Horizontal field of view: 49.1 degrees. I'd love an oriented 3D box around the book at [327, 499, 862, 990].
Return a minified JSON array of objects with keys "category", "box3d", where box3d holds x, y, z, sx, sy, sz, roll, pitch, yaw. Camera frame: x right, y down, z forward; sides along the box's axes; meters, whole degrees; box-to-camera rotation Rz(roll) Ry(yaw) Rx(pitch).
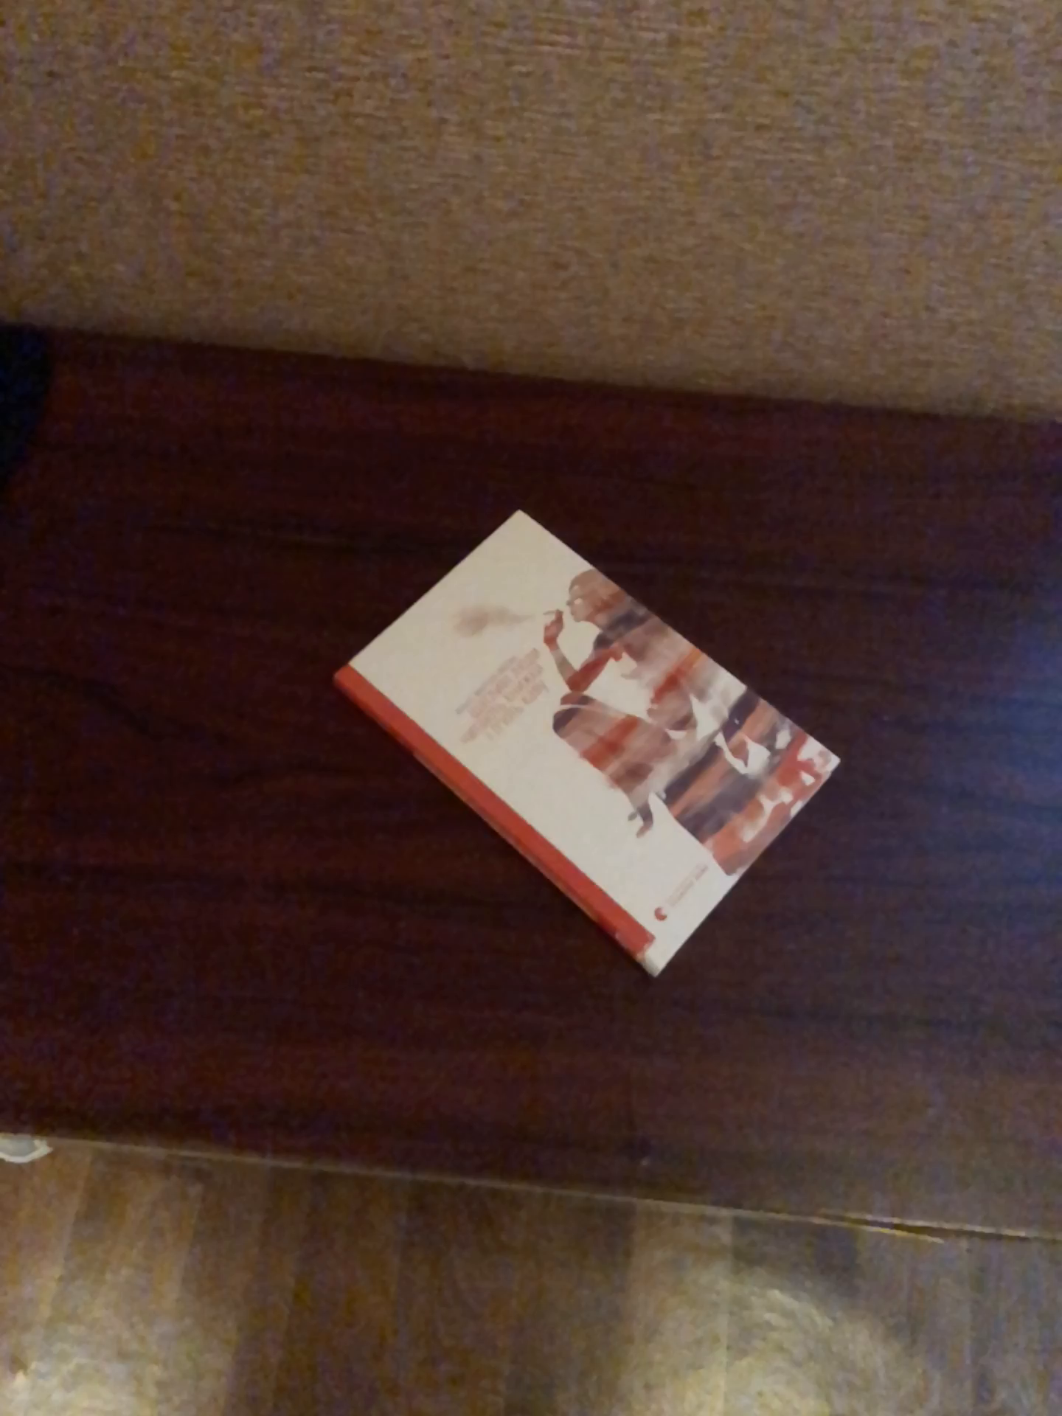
[{"category":"book","box3d":[0.031,0.009,0.595,0.227,0.020,0.150,40,69,15]}]
